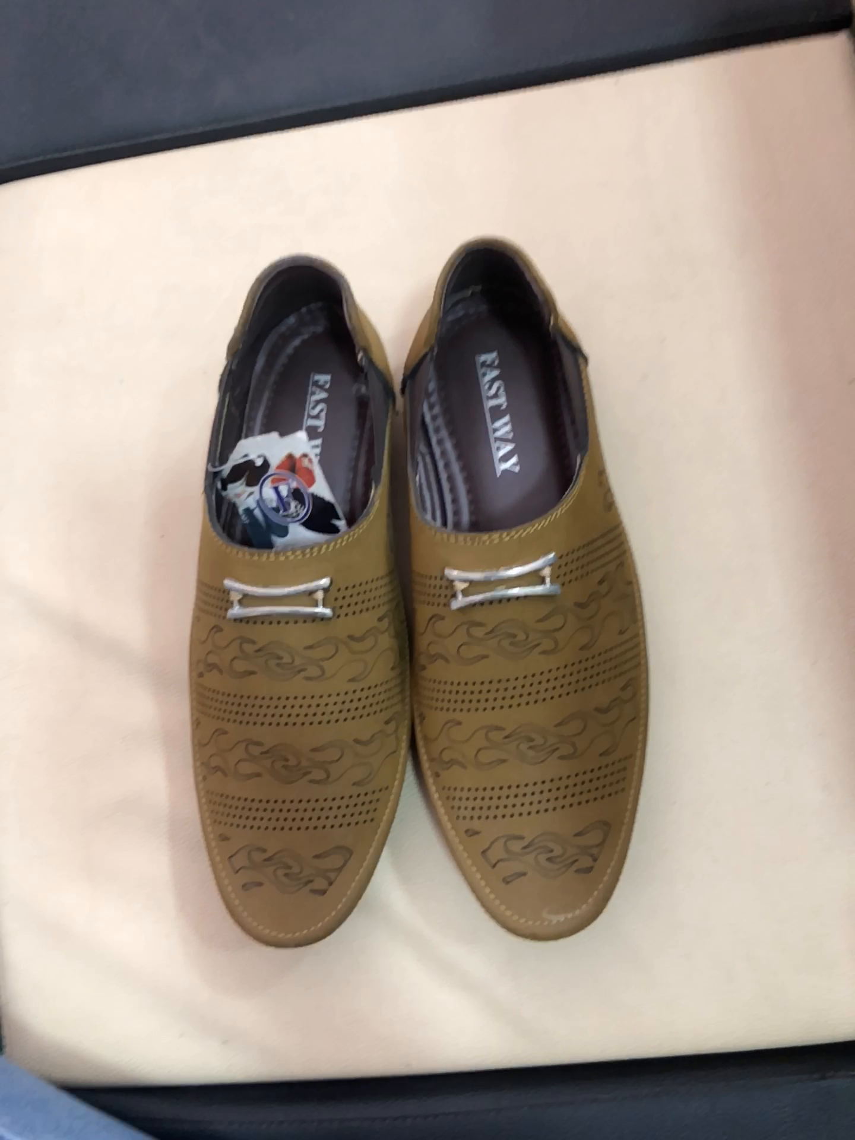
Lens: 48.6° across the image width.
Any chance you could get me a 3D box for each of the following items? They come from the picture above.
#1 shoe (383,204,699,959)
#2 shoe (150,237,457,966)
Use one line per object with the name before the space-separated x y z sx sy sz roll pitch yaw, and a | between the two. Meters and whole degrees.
shoe | 0.047 0.006 0.405 0.100 0.100 0.280 -5 80 10
shoe | -0.052 0.014 0.418 0.100 0.100 0.280 -5 80 10
